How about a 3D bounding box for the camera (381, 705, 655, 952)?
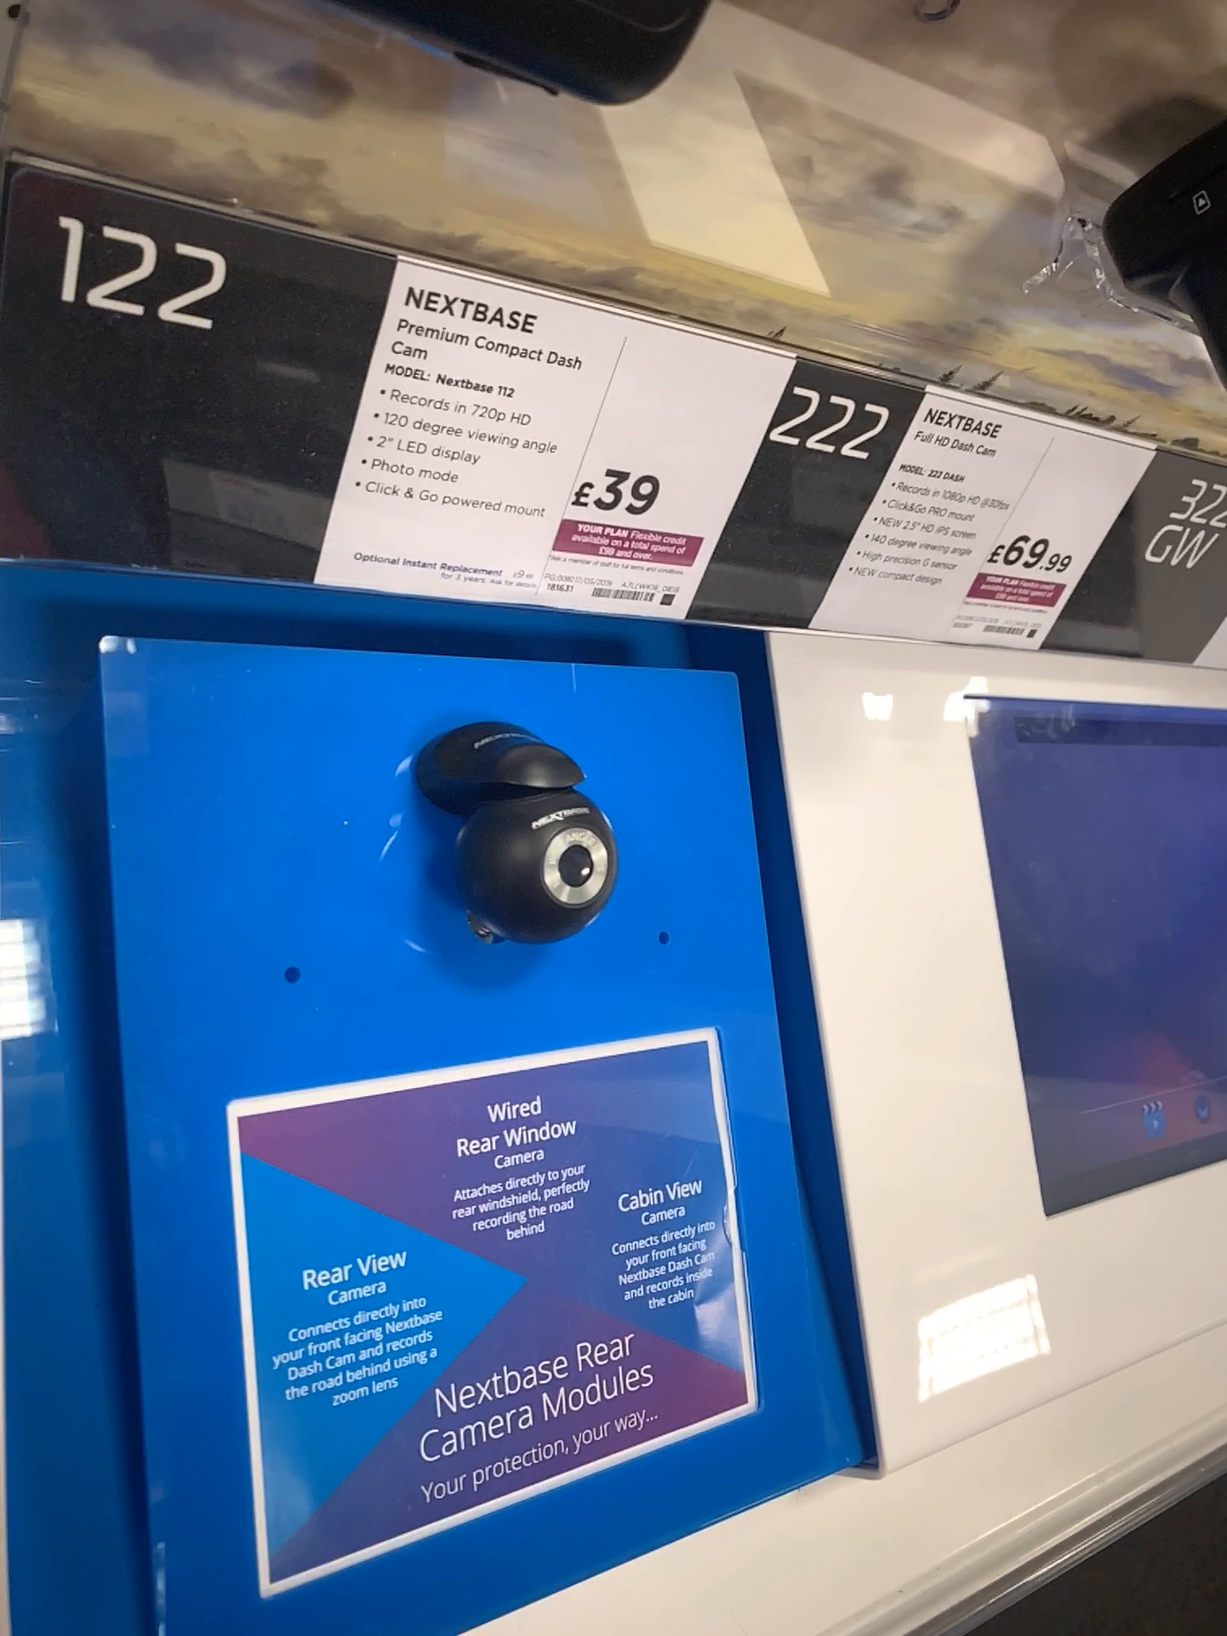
[{"bbox_3d":[-0.023,0.002,0.287,0.040,0.050,0.050,-2,89,-35],"label":"camera"}]
